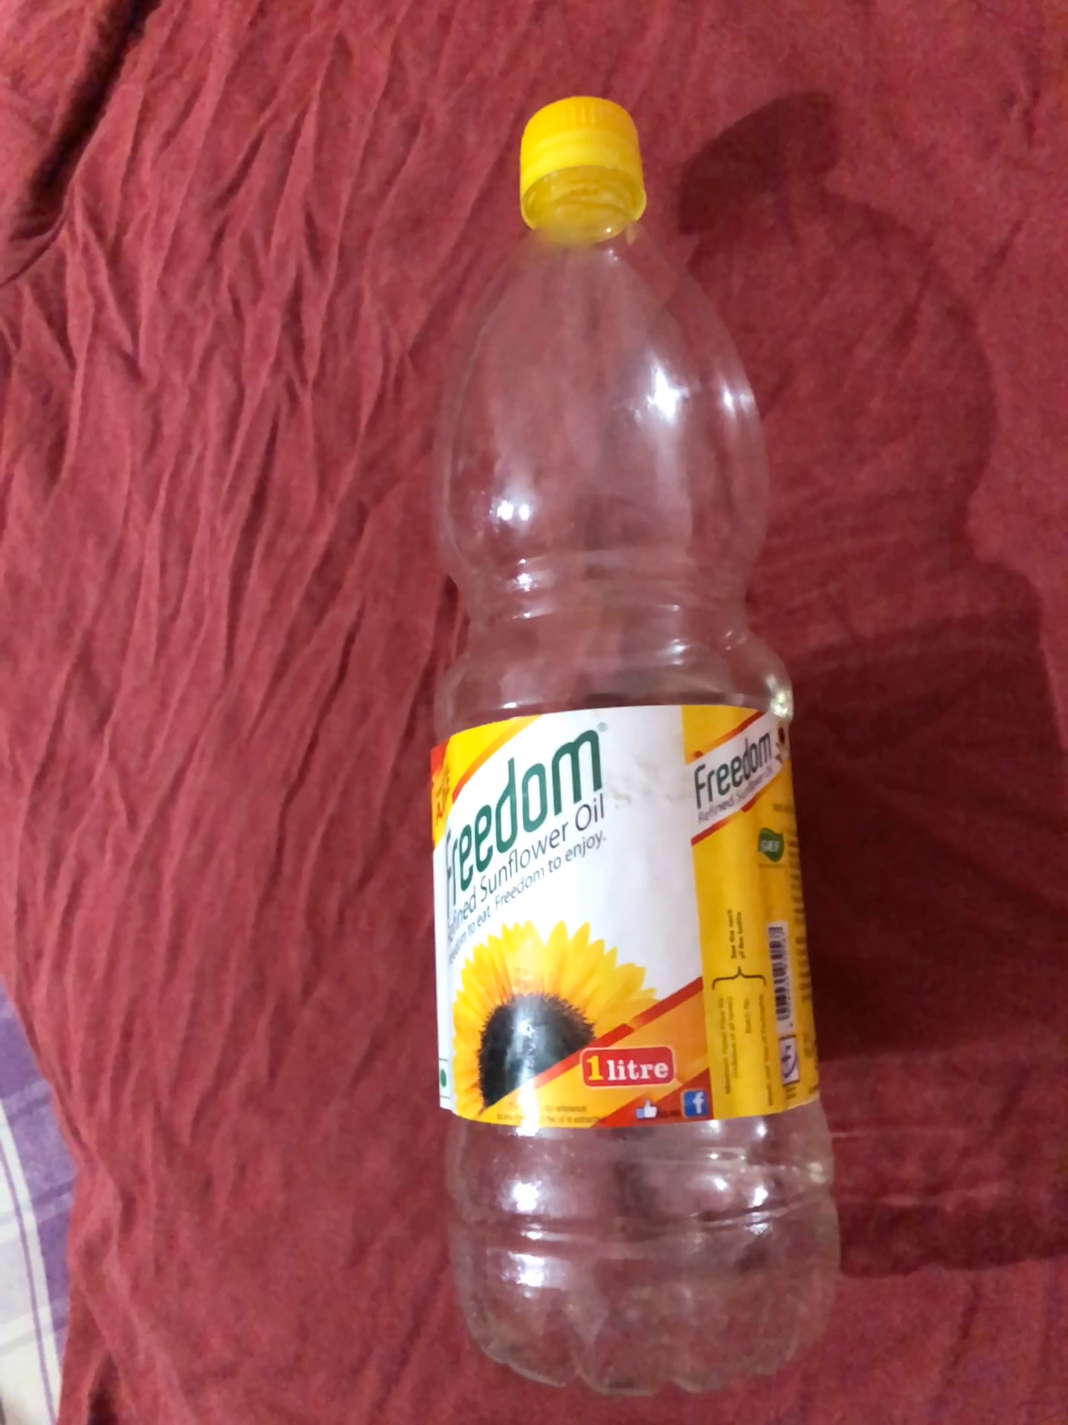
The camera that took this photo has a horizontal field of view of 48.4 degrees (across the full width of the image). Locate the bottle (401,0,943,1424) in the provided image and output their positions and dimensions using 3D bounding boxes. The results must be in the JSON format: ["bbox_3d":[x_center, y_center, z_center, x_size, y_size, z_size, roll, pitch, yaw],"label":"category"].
[{"bbox_3d":[0.027,-0.002,0.247,0.080,0.060,0.270,-6,81,23],"label":"bottle"}]
